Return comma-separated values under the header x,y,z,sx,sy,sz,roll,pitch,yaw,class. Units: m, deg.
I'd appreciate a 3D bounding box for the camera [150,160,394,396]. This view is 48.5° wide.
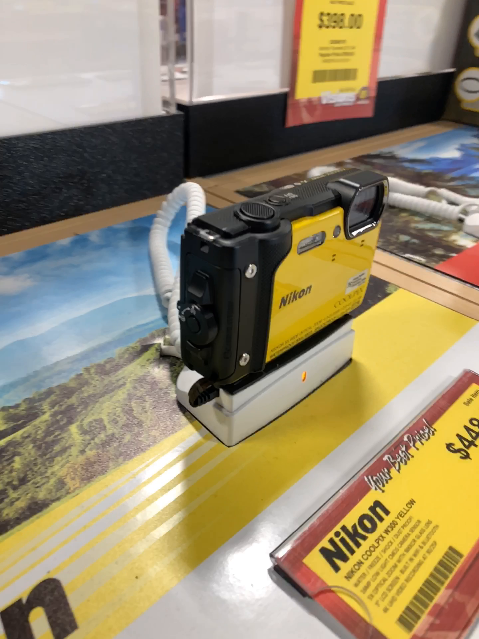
x,y,z,sx,sy,sz,roll,pitch,yaw,class
0.017,-0.023,0.221,0.030,0.060,0.110,29,40,34,camera
